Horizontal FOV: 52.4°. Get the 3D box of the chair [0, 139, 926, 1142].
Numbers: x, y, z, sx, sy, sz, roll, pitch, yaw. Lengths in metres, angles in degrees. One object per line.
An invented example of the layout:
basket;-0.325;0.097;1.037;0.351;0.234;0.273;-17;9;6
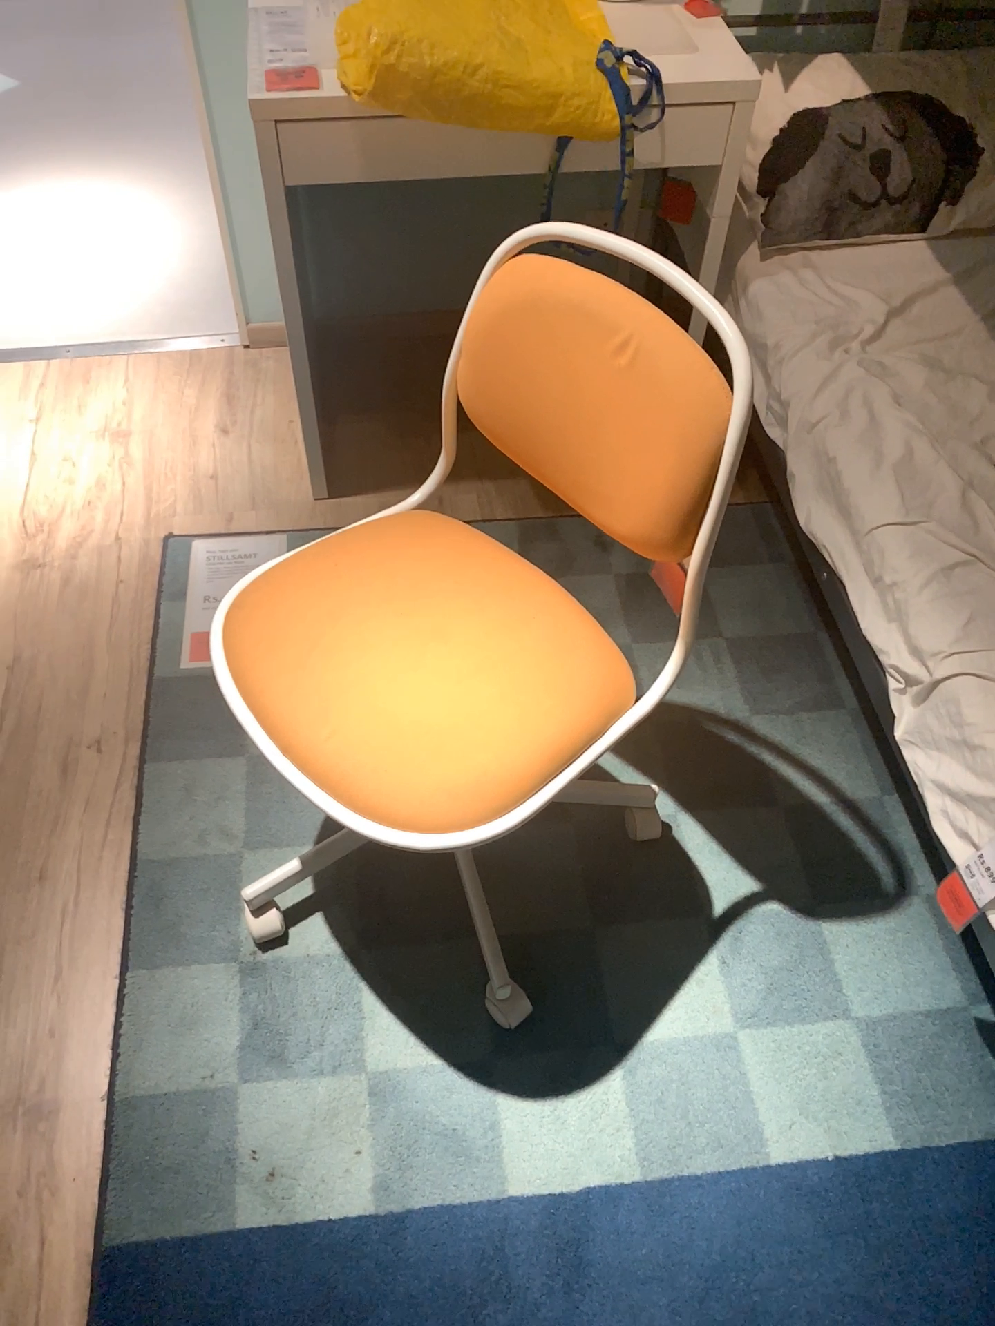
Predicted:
chair;-0.097;-0.019;1.137;0.650;0.708;0.611;-31;59;-22
